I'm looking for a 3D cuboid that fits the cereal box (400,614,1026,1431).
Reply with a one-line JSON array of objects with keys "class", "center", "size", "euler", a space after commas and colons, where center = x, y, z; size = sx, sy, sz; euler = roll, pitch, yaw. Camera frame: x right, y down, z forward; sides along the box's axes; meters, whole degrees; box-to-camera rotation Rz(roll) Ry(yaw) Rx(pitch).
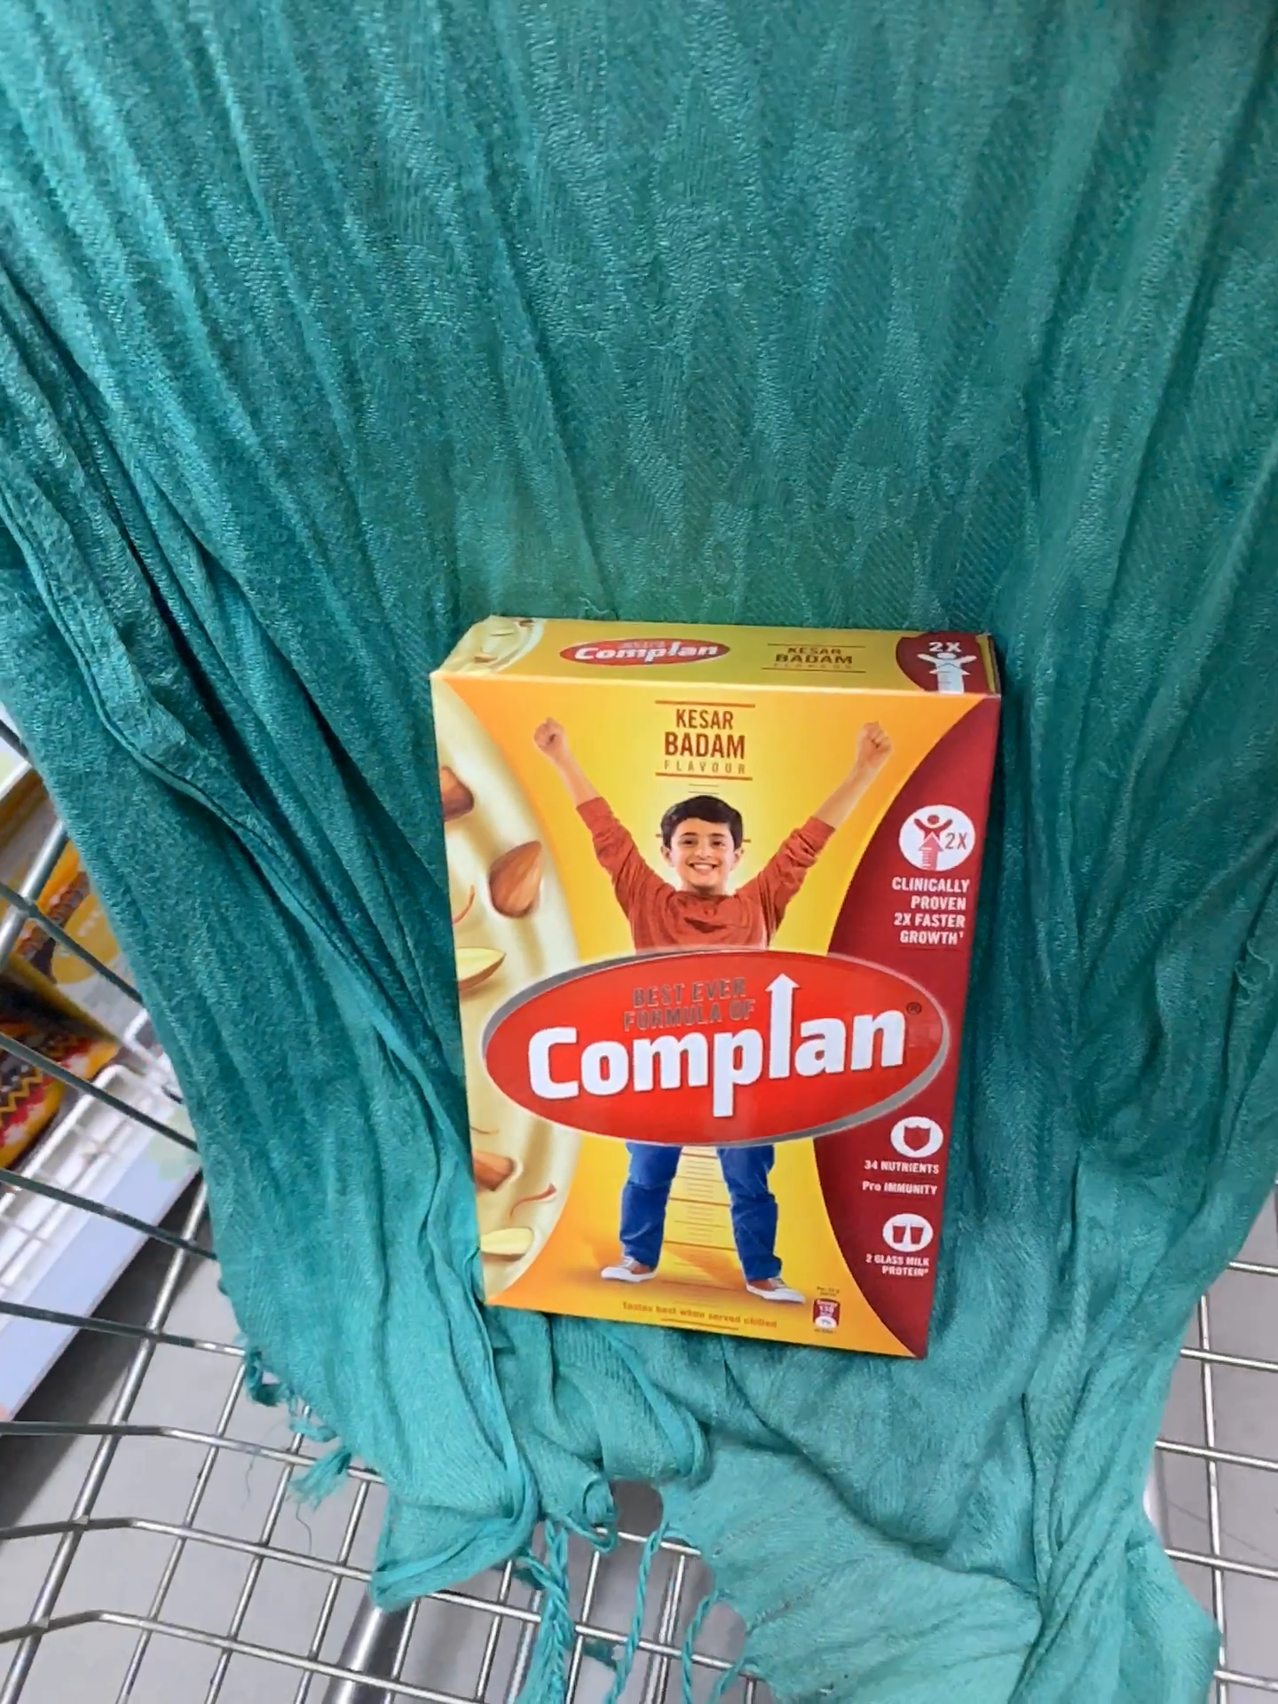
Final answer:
[{"class": "cereal box", "center": [0.021, 0.043, 0.351], "size": [0.140, 0.200, 0.060], "euler": [3, 20, 12]}]
